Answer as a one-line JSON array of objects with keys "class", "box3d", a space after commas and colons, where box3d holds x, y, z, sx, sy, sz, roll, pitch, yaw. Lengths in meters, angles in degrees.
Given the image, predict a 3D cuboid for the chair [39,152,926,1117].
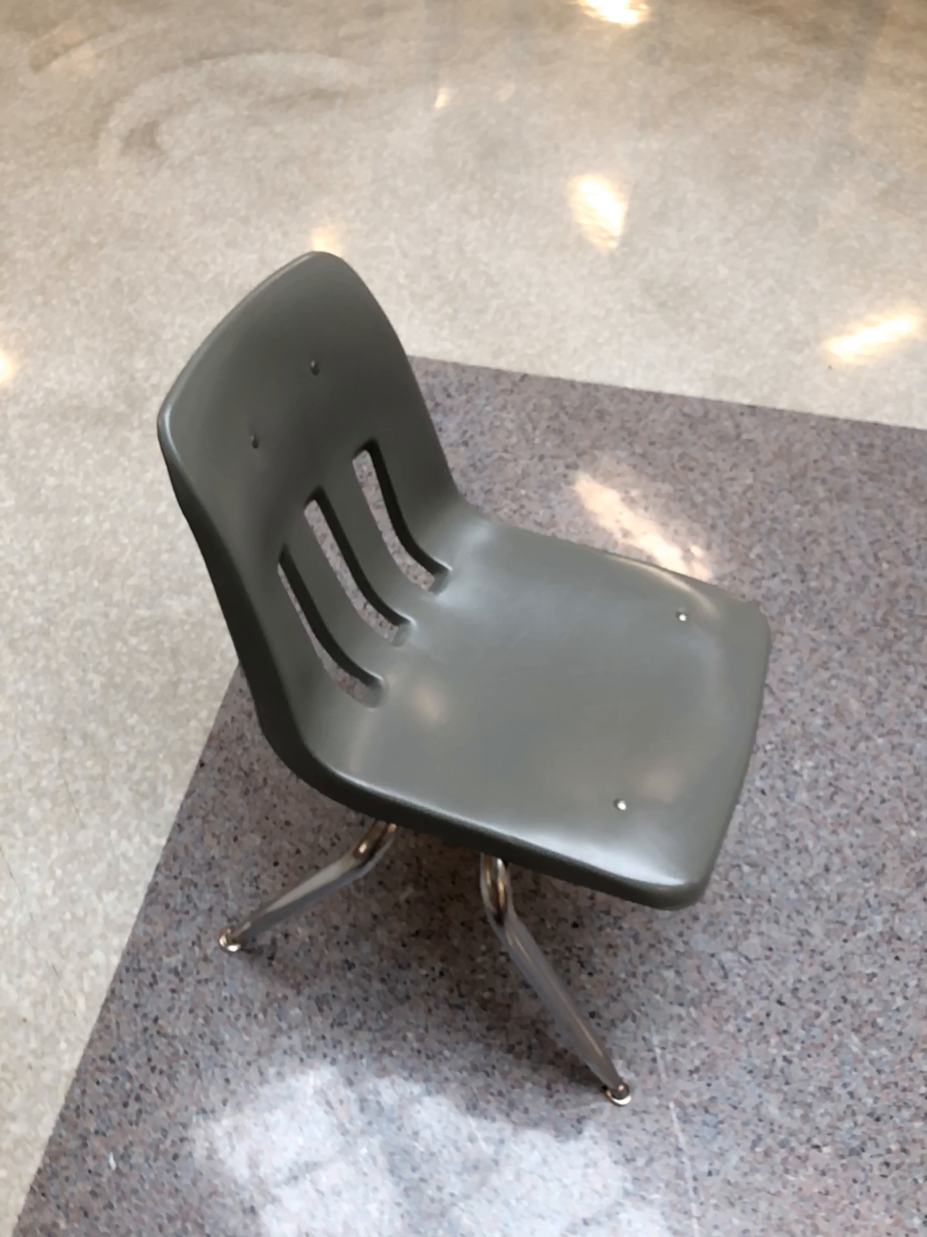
[{"class": "chair", "box3d": [0.064, 0.038, 1.010, 0.550, 0.666, 0.513, 18, 52, 12]}]
